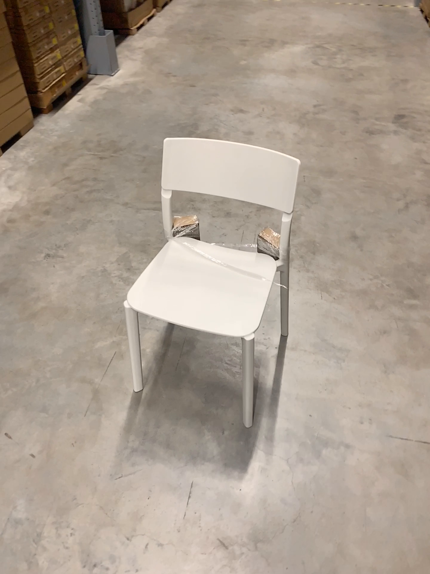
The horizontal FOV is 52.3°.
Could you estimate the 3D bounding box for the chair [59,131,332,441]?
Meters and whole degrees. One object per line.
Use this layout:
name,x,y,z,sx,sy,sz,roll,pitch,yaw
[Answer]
chair,-0.008,-0.011,1.284,0.520,0.618,0.532,13,46,13
